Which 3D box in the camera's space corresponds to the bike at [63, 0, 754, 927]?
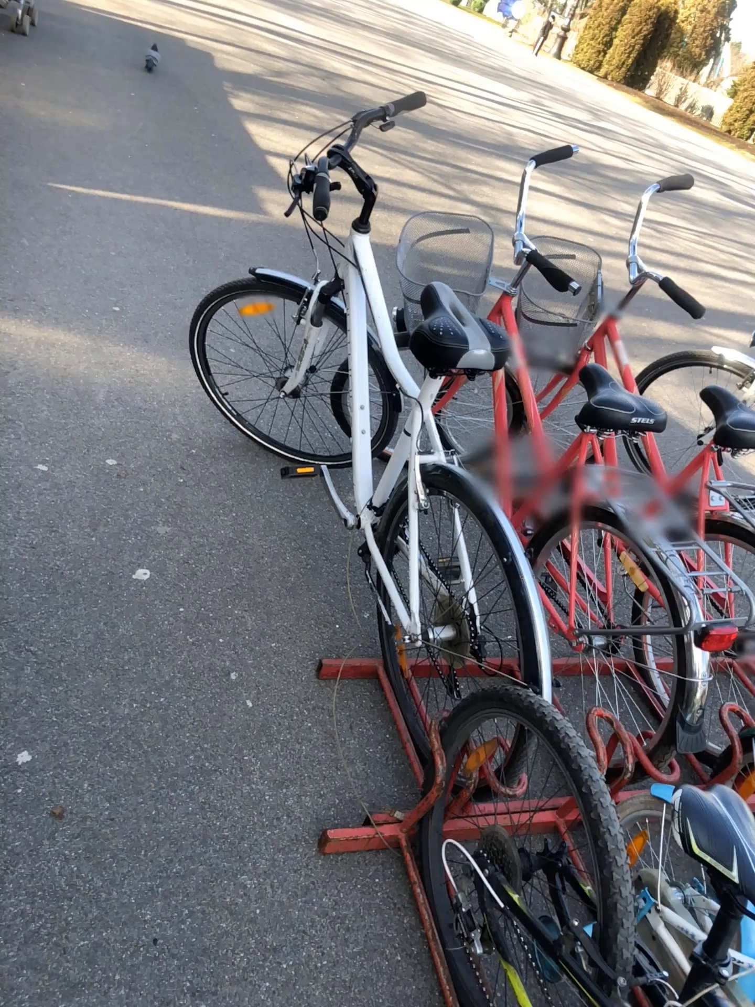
[{"bbox_3d":[-0.090,-0.210,1.833,0.620,1.163,1.605,-3,40,-36],"label":"bike"}]
